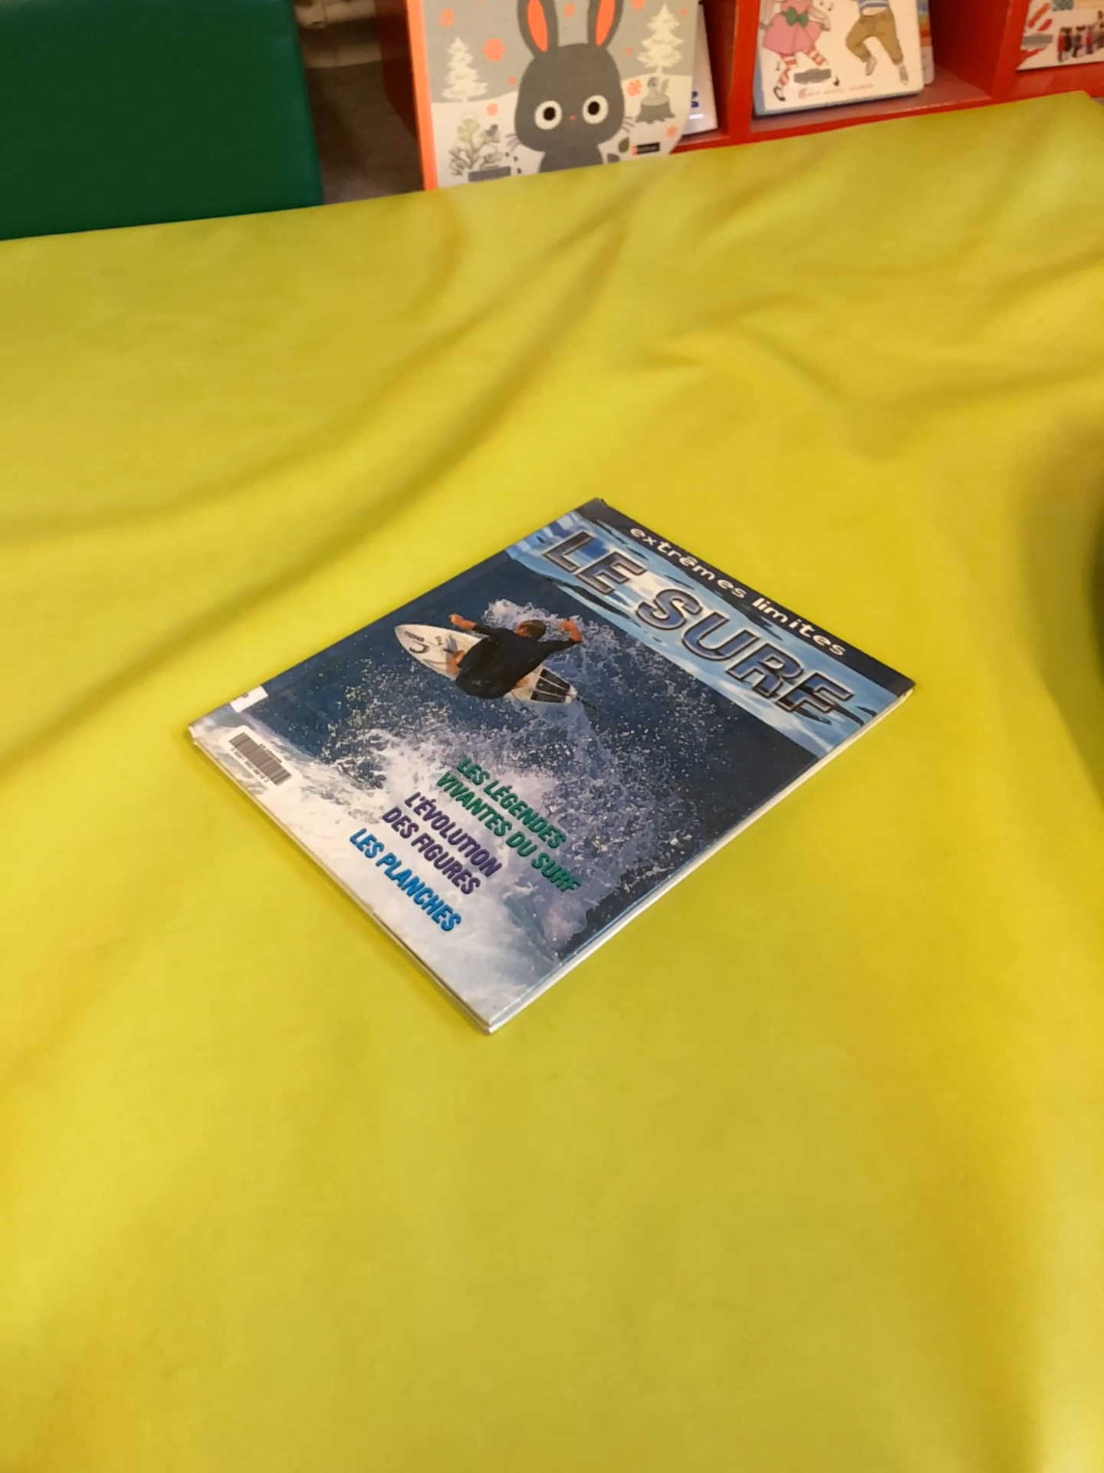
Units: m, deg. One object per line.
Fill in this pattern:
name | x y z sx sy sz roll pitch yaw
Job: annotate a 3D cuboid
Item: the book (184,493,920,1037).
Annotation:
book | 0.001 -0.013 0.587 0.274 0.016 0.226 -33 53 -28
